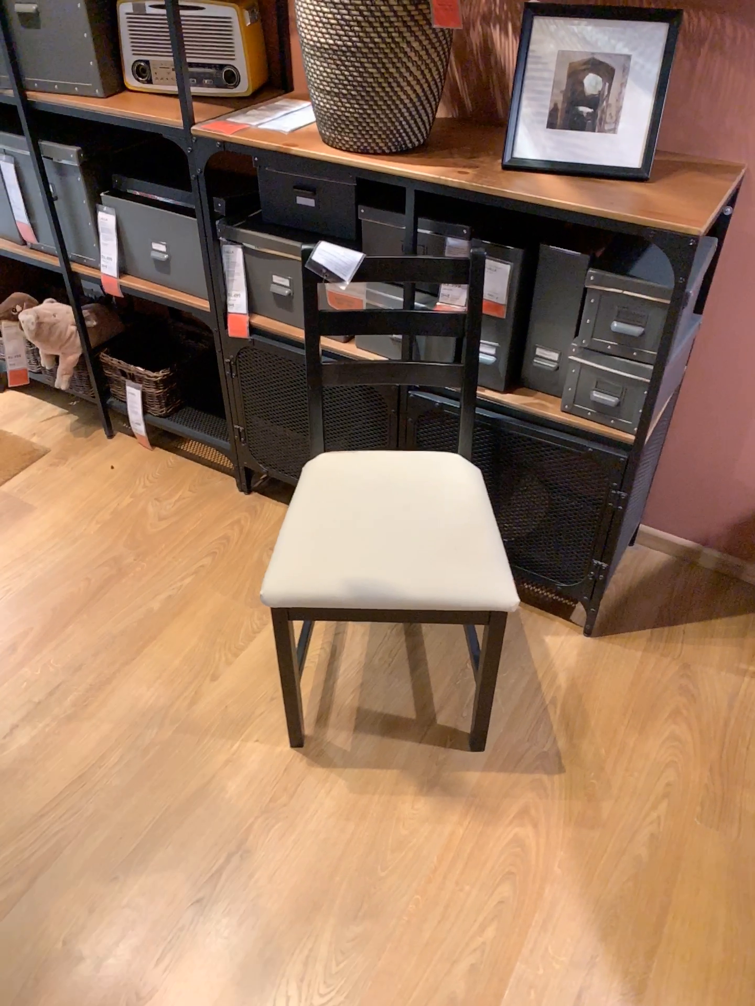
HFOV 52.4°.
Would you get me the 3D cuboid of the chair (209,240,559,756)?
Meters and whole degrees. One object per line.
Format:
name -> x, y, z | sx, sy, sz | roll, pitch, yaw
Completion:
chair -> 0.012, 0.005, 1.396 | 0.430, 0.767, 0.542 | 1, 41, 1
